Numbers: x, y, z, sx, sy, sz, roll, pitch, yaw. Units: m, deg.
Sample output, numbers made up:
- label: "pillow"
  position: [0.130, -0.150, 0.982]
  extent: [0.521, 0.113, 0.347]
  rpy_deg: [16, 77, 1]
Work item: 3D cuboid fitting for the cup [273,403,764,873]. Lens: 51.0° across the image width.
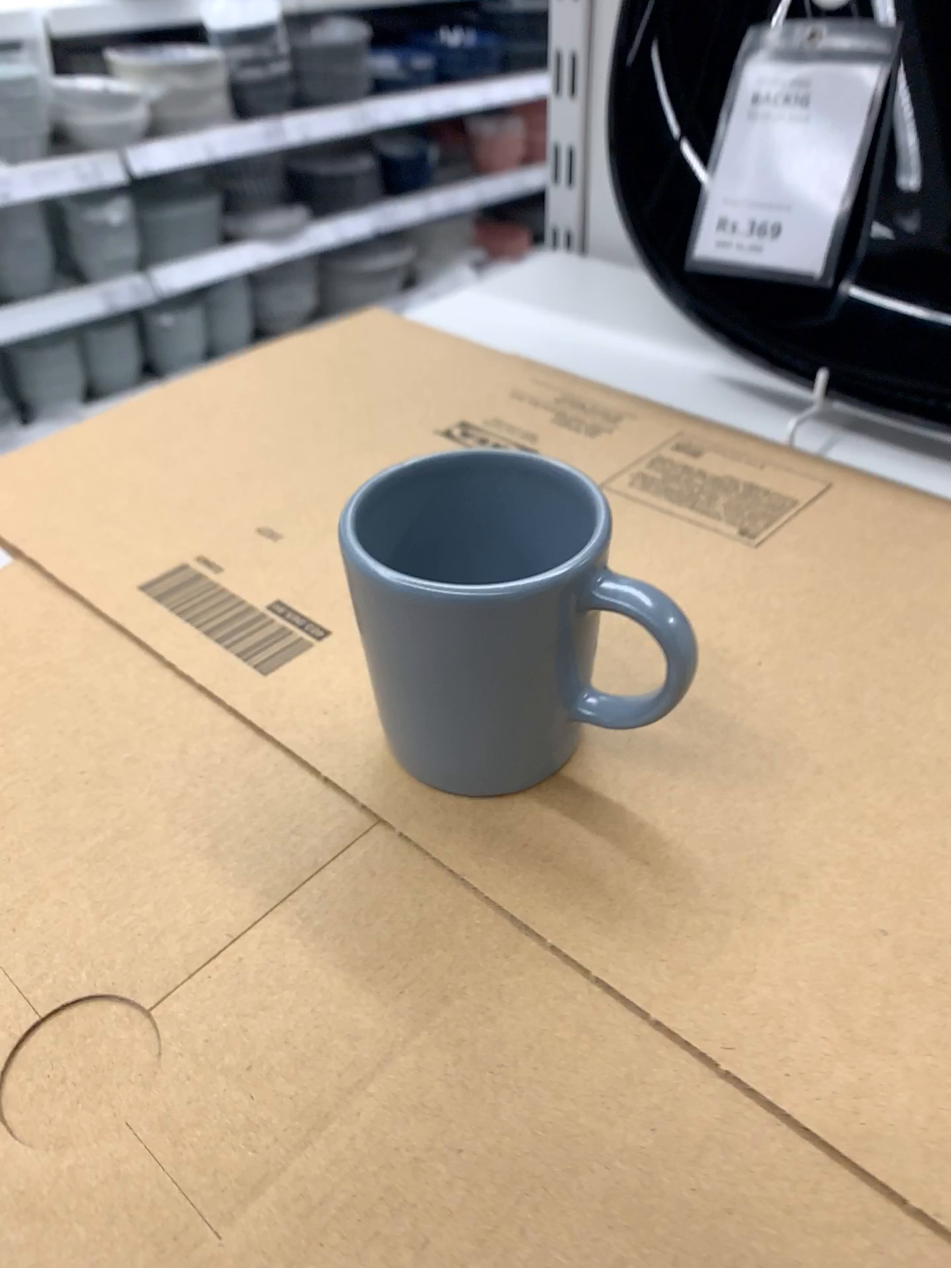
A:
- label: "cup"
  position: [0.010, -0.004, 0.218]
  extent: [0.080, 0.060, 0.060]
  rpy_deg: [18, 41, 23]
